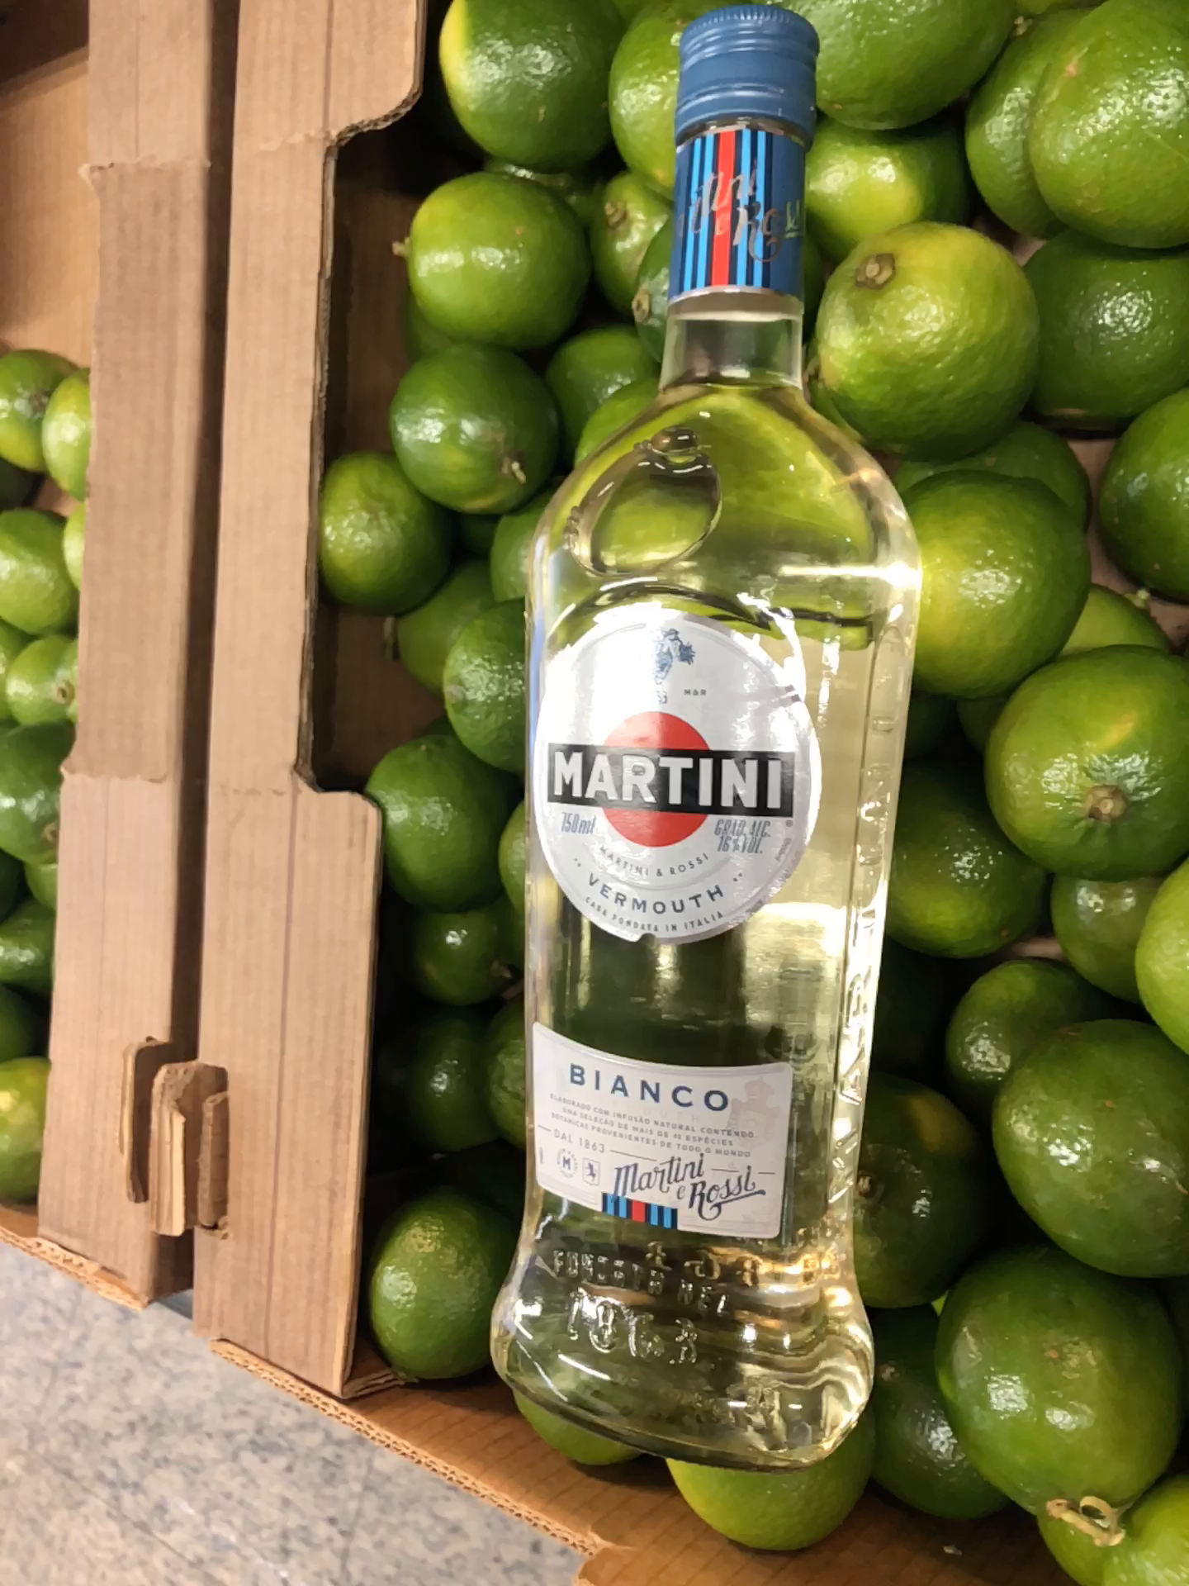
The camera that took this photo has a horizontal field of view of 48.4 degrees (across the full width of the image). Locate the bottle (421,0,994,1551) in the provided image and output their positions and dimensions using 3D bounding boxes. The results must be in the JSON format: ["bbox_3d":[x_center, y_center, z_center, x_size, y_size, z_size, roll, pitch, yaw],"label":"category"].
[{"bbox_3d":[0.024,-0.017,0.299,0.100,0.050,0.320,4,91,32],"label":"bottle"}]
